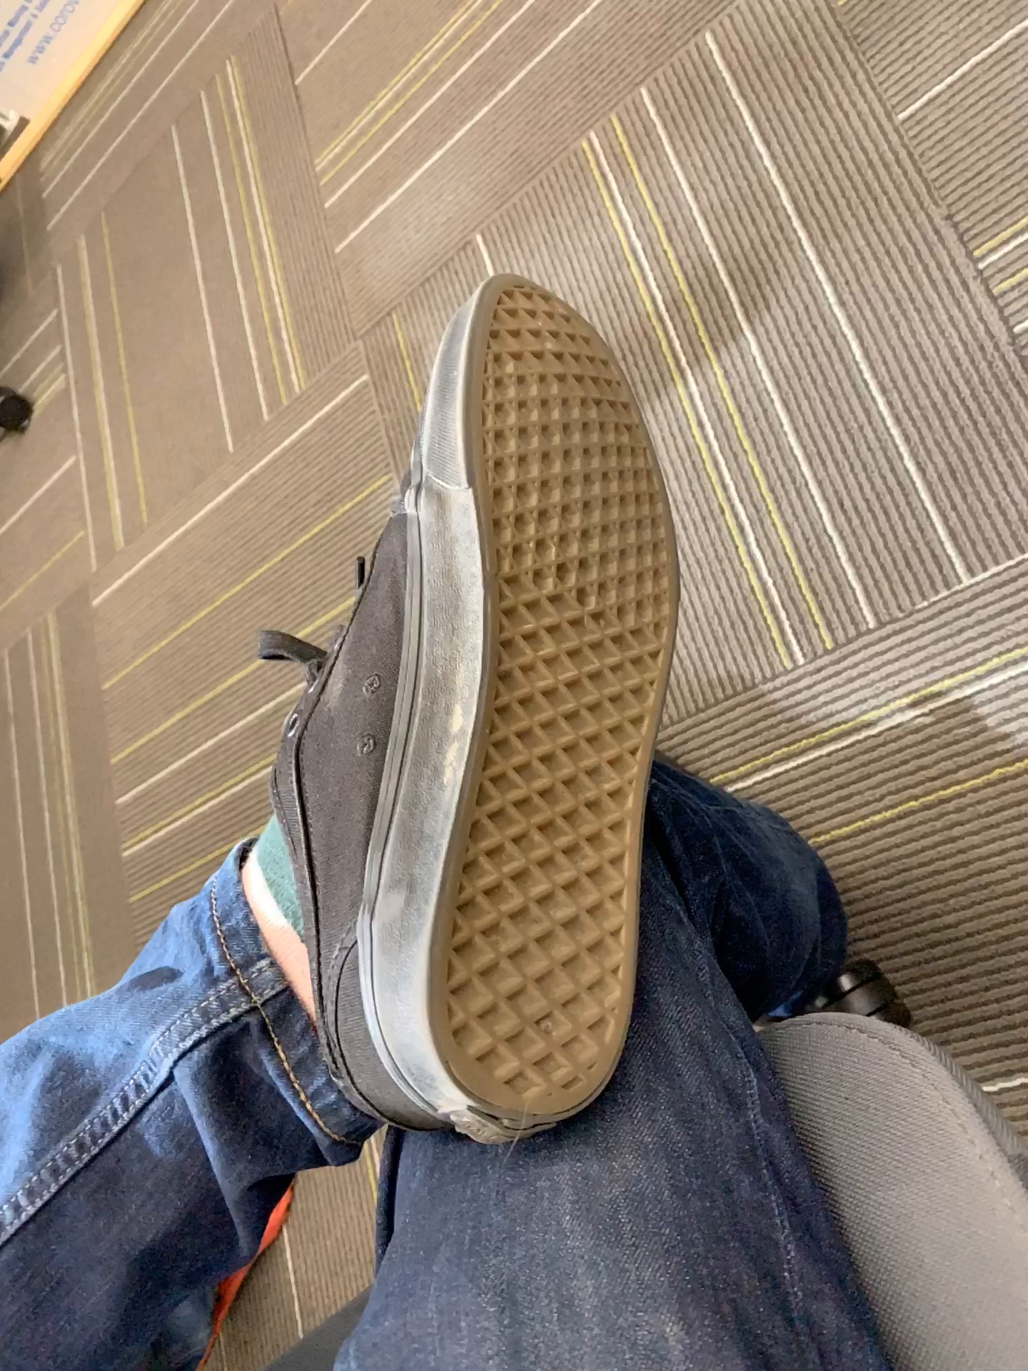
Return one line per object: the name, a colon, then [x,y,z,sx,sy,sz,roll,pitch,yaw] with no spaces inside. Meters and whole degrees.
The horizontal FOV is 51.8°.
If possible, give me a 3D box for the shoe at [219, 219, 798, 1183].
shoe: [-0.013,0.012,0.364,0.135,0.119,0.260,-19,70,44]
